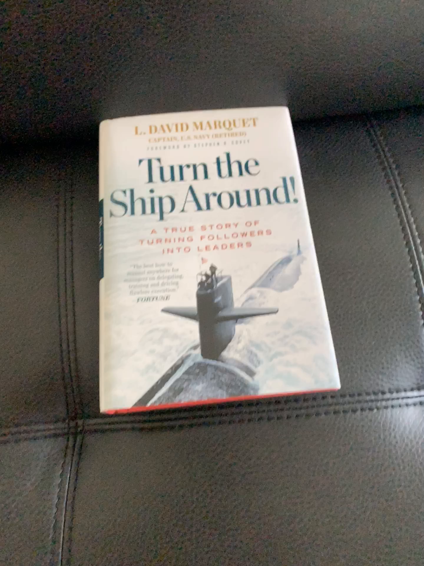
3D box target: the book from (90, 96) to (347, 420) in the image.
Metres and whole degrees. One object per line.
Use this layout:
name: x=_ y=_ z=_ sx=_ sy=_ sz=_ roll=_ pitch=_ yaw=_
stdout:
book: x=-0.006 y=-0.029 z=0.313 sx=0.152 sy=0.029 sz=0.226 roll=-5 pitch=69 yaw=-2
